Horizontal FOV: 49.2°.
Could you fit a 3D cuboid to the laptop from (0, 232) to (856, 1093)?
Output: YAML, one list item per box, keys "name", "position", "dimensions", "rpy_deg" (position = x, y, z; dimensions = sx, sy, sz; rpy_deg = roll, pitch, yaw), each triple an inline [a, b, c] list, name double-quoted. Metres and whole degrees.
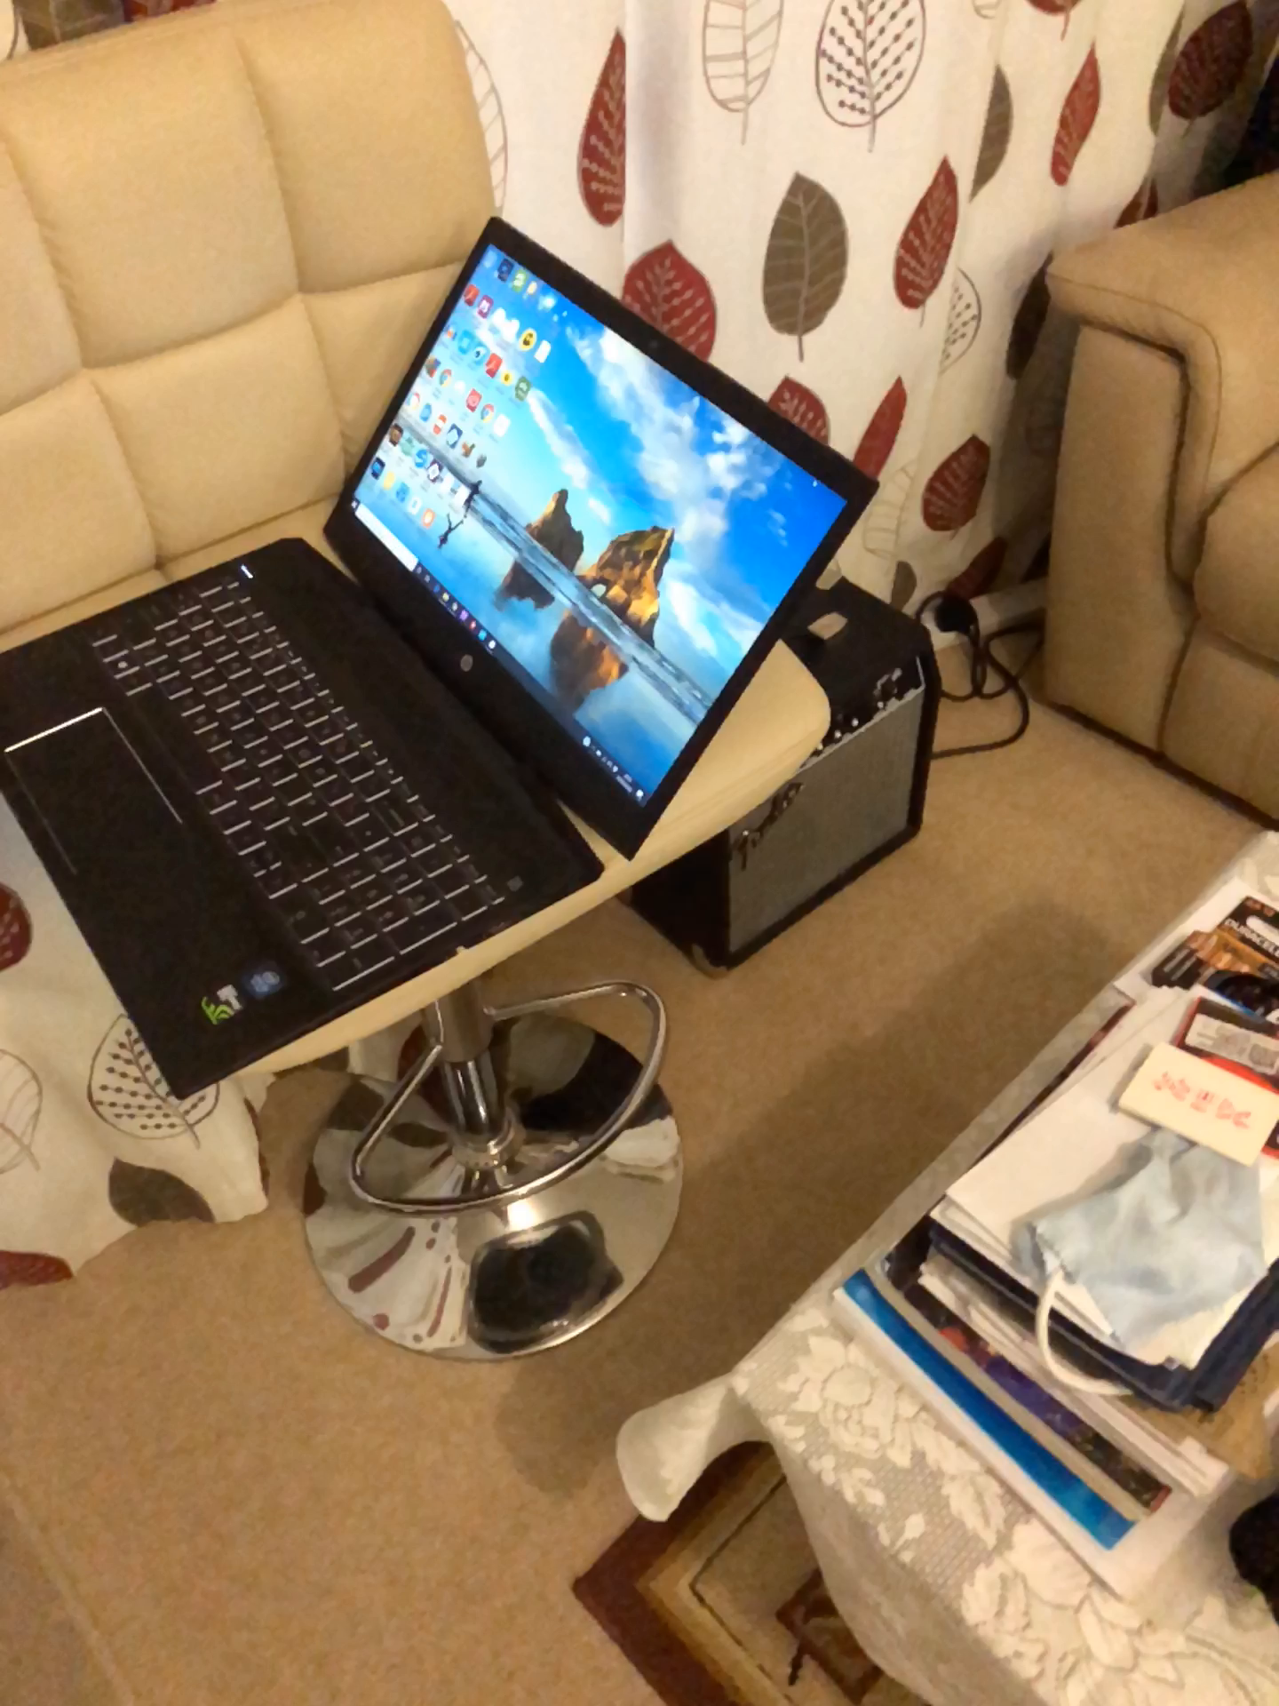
- name: "laptop"
  position: [-0.155, -0.137, 0.746]
  dimensions: [0.401, 0.159, 0.349]
  rpy_deg: [-28, 54, -23]
